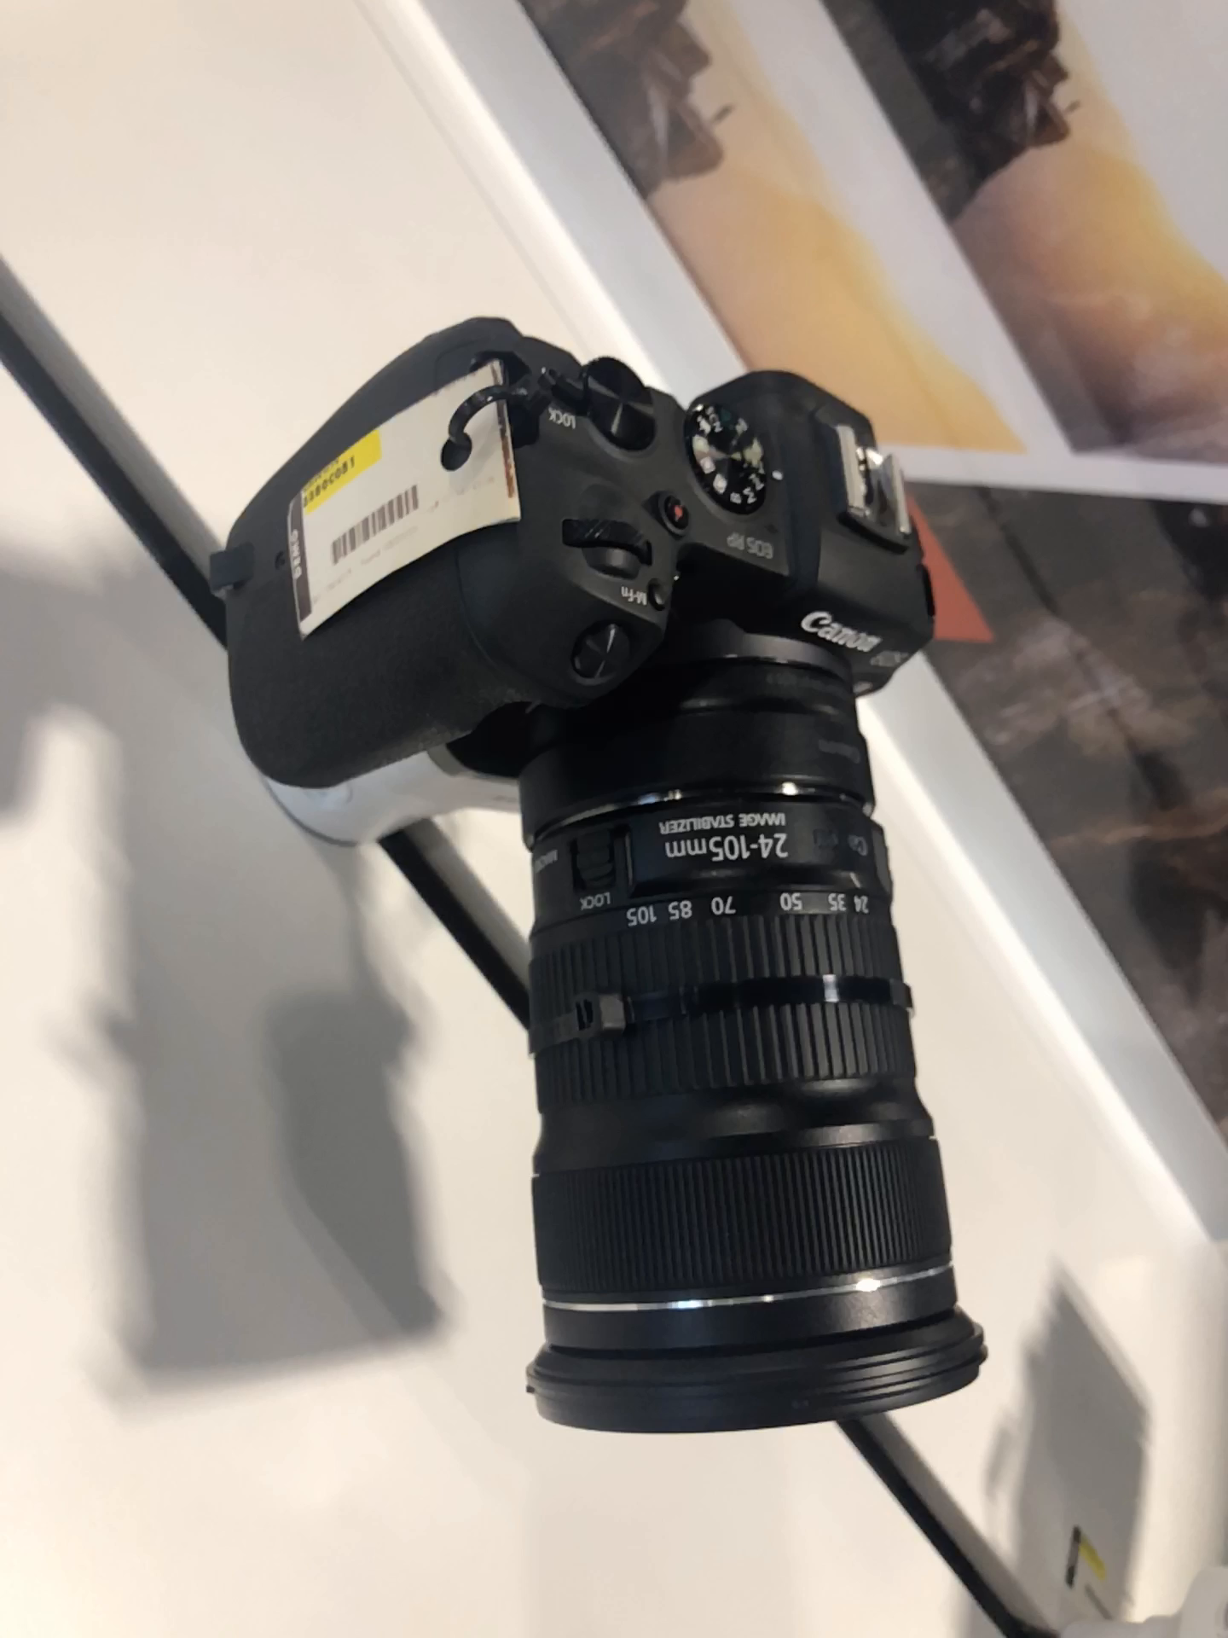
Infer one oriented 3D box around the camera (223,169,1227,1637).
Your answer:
[{"bbox_3d":[0.022,0.018,0.248,0.136,0.090,0.190,8,67,-49],"label":"camera"}]
